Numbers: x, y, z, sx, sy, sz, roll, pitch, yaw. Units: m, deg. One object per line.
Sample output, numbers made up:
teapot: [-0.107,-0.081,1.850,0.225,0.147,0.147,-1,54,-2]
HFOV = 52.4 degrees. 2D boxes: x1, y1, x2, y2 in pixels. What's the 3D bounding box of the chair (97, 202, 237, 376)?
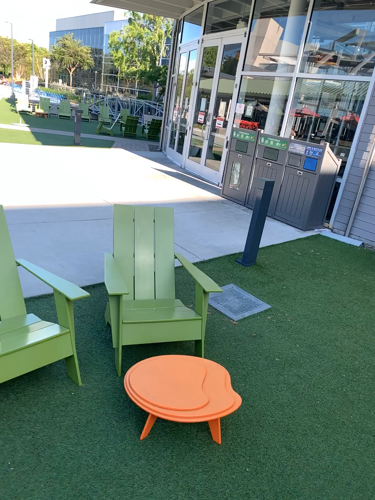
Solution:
chair: [-0.221,0.225,2.674,0.710,0.856,0.854,3,21,-17]
